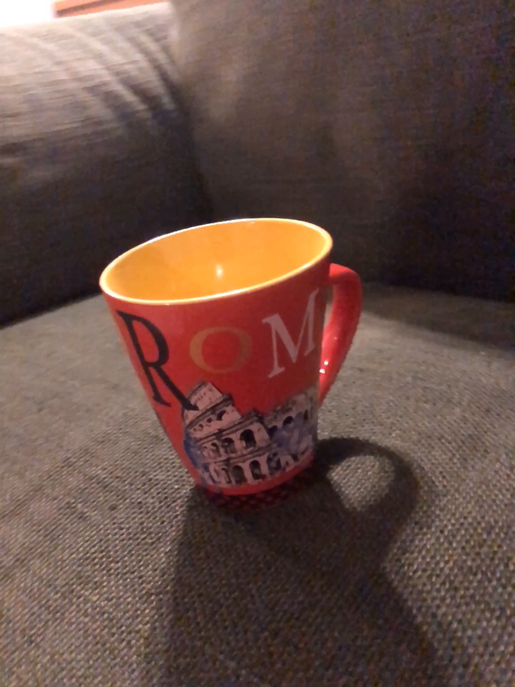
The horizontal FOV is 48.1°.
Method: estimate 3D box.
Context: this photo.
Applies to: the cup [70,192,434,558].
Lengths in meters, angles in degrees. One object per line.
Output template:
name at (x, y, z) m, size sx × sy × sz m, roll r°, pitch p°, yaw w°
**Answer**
cup at (0.003, 0.001, 0.258) m, size 0.120 × 0.099 × 0.090 m, roll -26°, pitch 32°, yaw -32°
